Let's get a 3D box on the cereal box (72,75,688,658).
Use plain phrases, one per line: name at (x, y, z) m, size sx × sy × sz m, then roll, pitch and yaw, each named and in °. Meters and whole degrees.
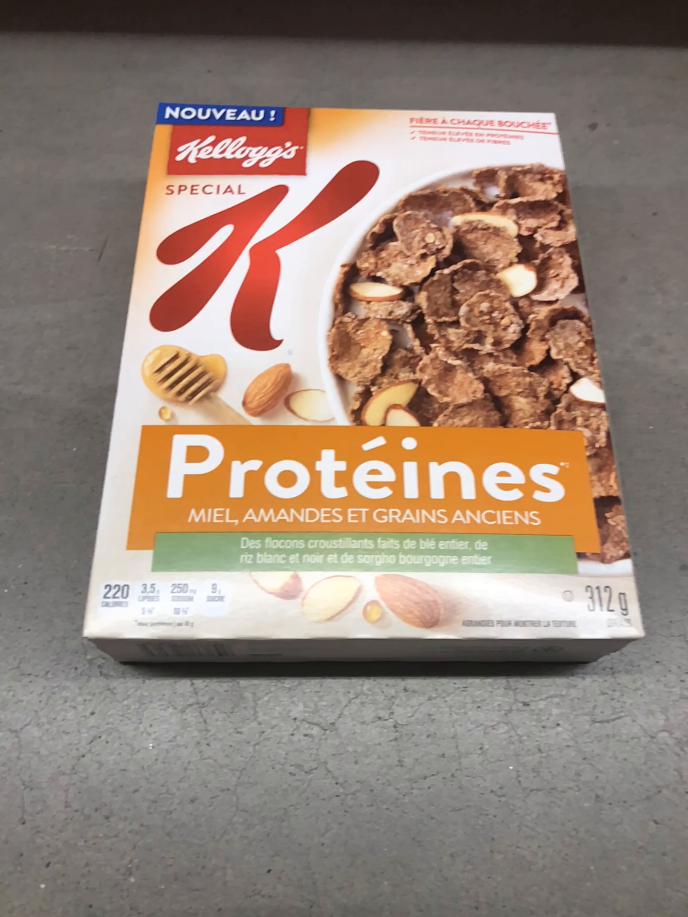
cereal box at (0.010, -0.049, 0.319) m, size 0.200 × 0.050 × 0.251 m, roll 0°, pitch 67°, yaw -1°
